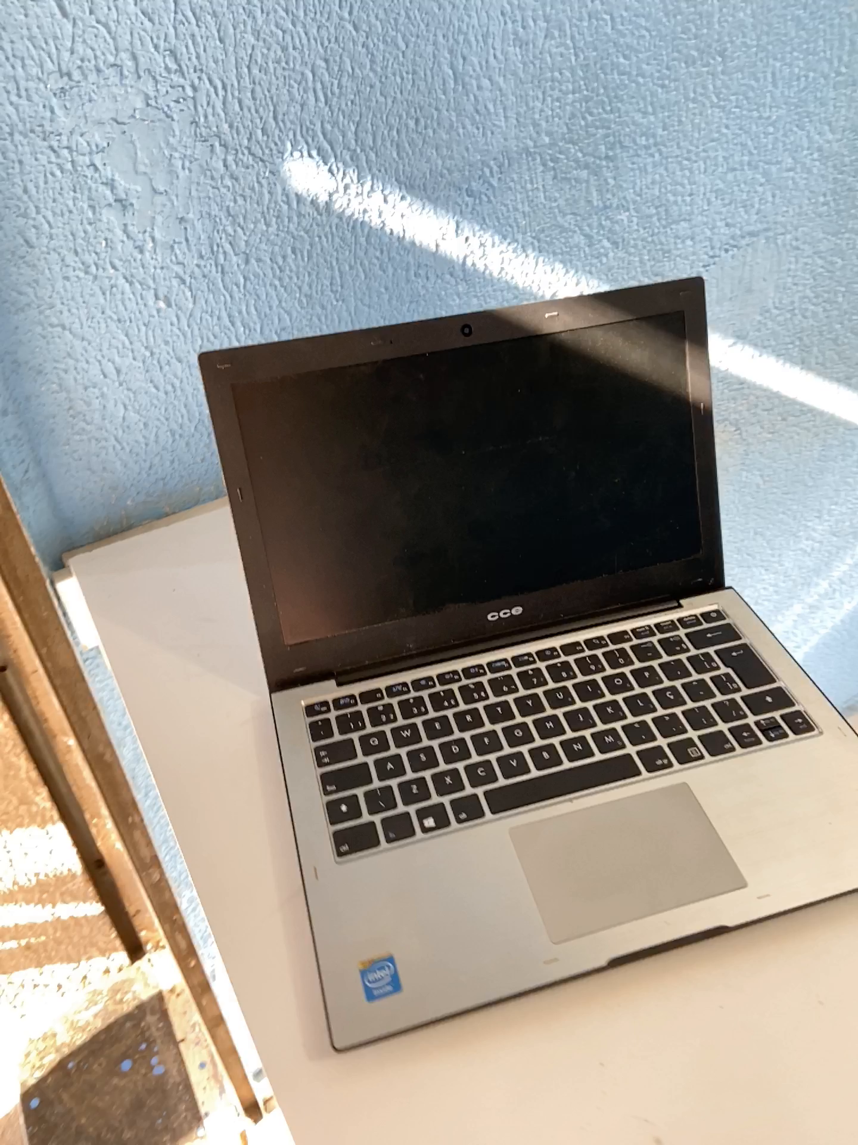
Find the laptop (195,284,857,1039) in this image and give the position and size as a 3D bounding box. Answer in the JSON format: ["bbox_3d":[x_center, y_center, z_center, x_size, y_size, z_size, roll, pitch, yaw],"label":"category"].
[{"bbox_3d":[0.064,0.010,0.470,0.313,0.181,0.305,-11,41,-11],"label":"laptop"}]
